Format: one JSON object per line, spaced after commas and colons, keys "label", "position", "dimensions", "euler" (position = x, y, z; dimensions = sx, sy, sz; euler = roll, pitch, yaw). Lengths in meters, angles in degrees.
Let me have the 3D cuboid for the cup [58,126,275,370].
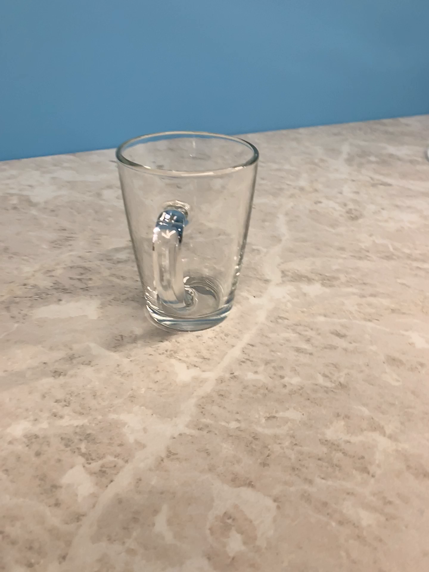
{"label": "cup", "position": [-0.018, -0.031, 0.271], "dimensions": [0.089, 0.097, 0.116], "euler": [8, 33, 10]}
